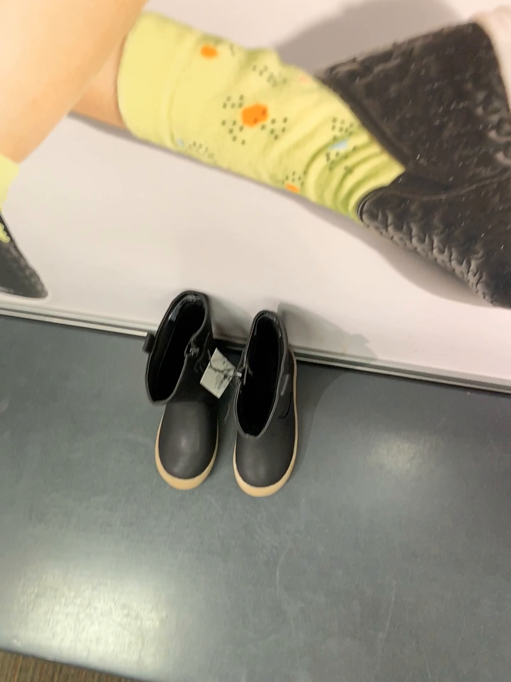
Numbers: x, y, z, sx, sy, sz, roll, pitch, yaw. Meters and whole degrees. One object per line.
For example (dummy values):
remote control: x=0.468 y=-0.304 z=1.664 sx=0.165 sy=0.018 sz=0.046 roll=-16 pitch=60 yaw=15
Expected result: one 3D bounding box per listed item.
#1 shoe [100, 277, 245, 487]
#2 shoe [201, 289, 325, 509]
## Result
shoe: x=-0.078 y=0.060 z=0.596 sx=0.080 sy=0.200 sz=0.190 roll=11 pitch=75 yaw=6
shoe: x=0.014 y=0.074 z=0.574 sx=0.080 sy=0.200 sz=0.190 roll=9 pitch=75 yaw=6
